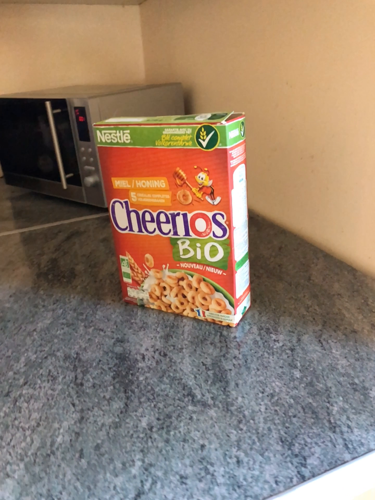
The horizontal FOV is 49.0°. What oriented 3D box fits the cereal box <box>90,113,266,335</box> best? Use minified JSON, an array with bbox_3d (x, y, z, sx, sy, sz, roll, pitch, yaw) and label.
[{"bbox_3d":[-0.006,-0.040,0.550,0.200,0.259,0.080,8,25,29],"label":"cereal box"}]
